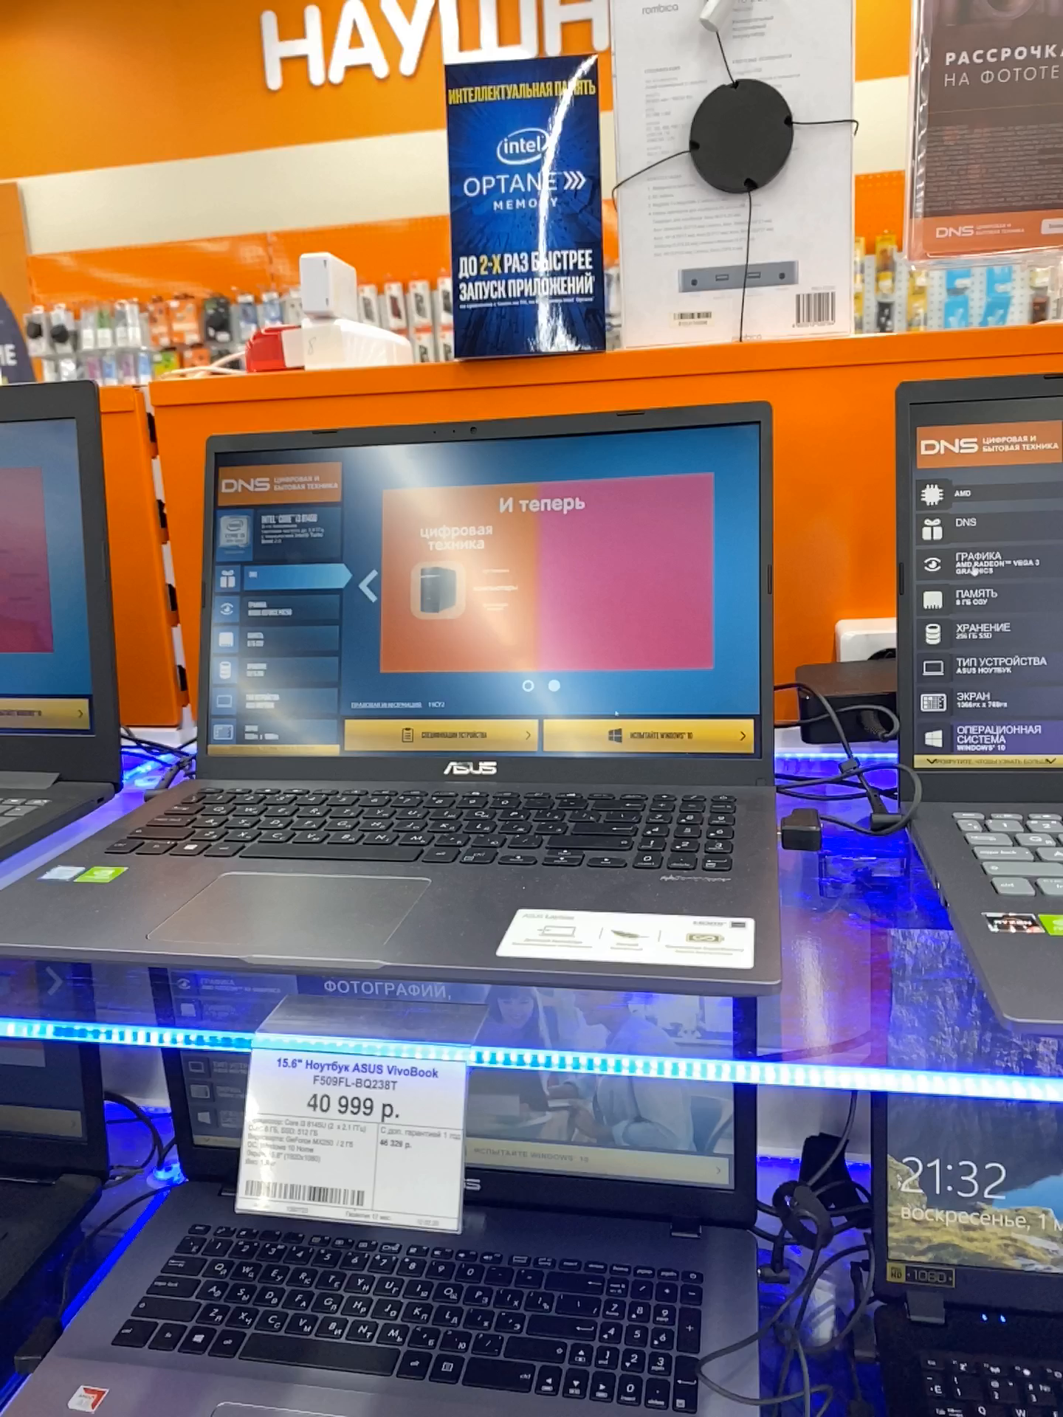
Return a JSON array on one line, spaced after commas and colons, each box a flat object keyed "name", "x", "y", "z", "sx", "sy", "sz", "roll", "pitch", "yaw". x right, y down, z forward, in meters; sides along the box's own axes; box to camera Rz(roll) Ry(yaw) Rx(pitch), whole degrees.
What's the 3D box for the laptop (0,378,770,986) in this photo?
[{"name": "laptop", "x": -0.063, "y": -0.040, "z": 0.553, "sx": 0.357, "sy": 0.211, "sz": 0.307, "roll": 0, "pitch": 13, "yaw": 12}]
